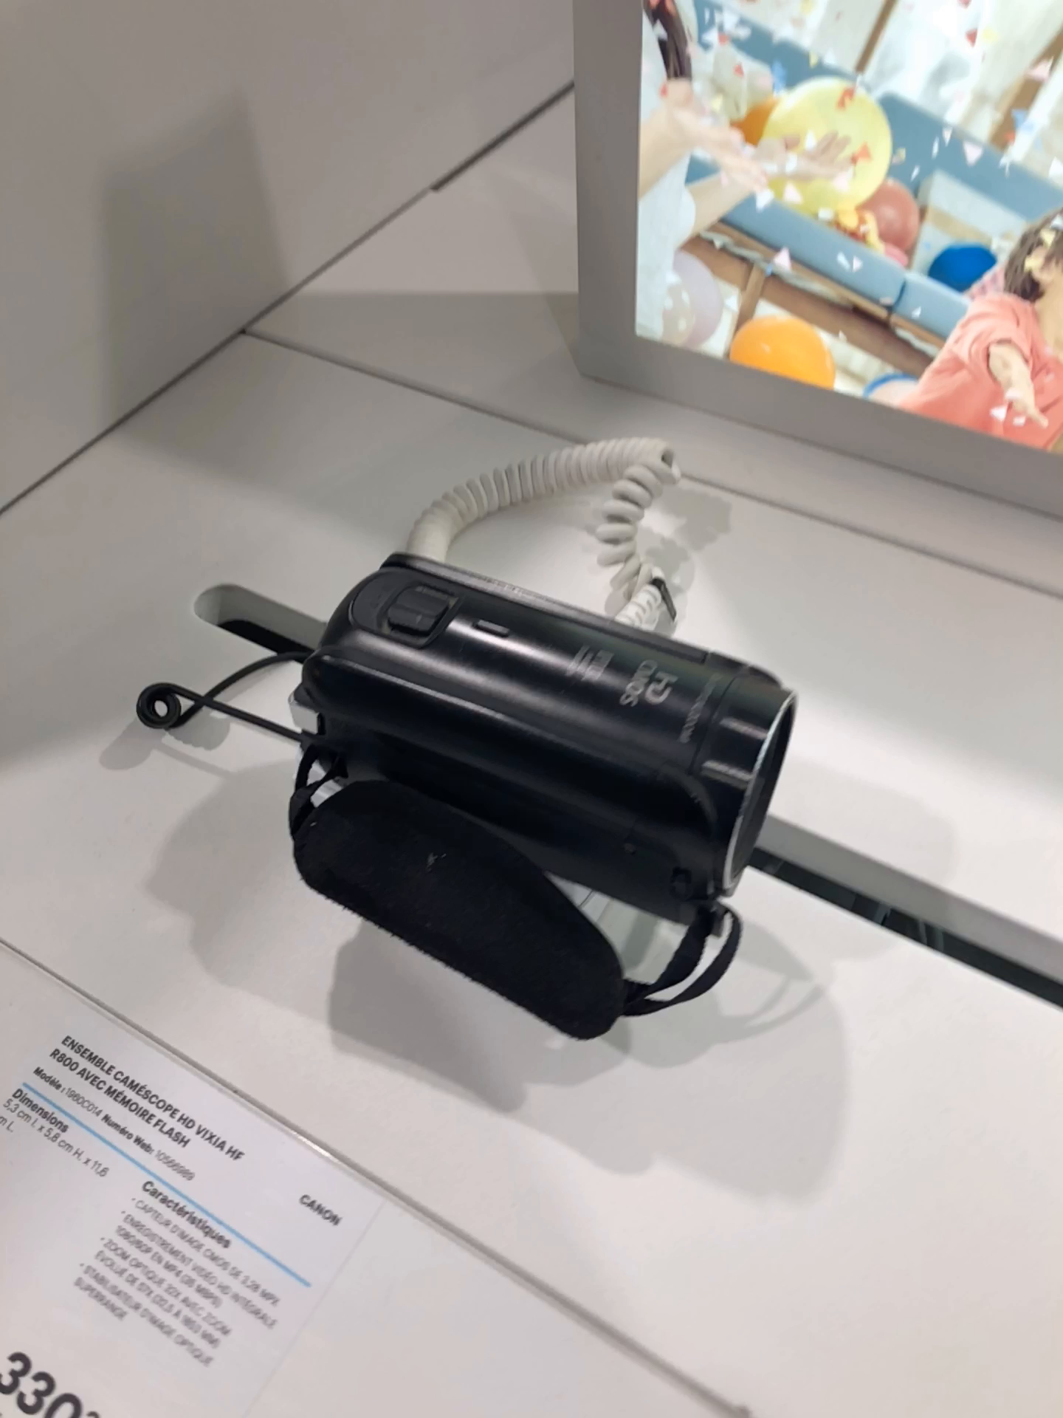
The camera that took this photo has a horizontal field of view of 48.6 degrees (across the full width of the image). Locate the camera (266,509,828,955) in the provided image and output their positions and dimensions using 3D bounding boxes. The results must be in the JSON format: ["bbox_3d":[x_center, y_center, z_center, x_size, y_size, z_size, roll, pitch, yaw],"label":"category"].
[{"bbox_3d":[0.003,0.003,0.277,0.113,0.050,0.050,20,53,20],"label":"camera"}]
